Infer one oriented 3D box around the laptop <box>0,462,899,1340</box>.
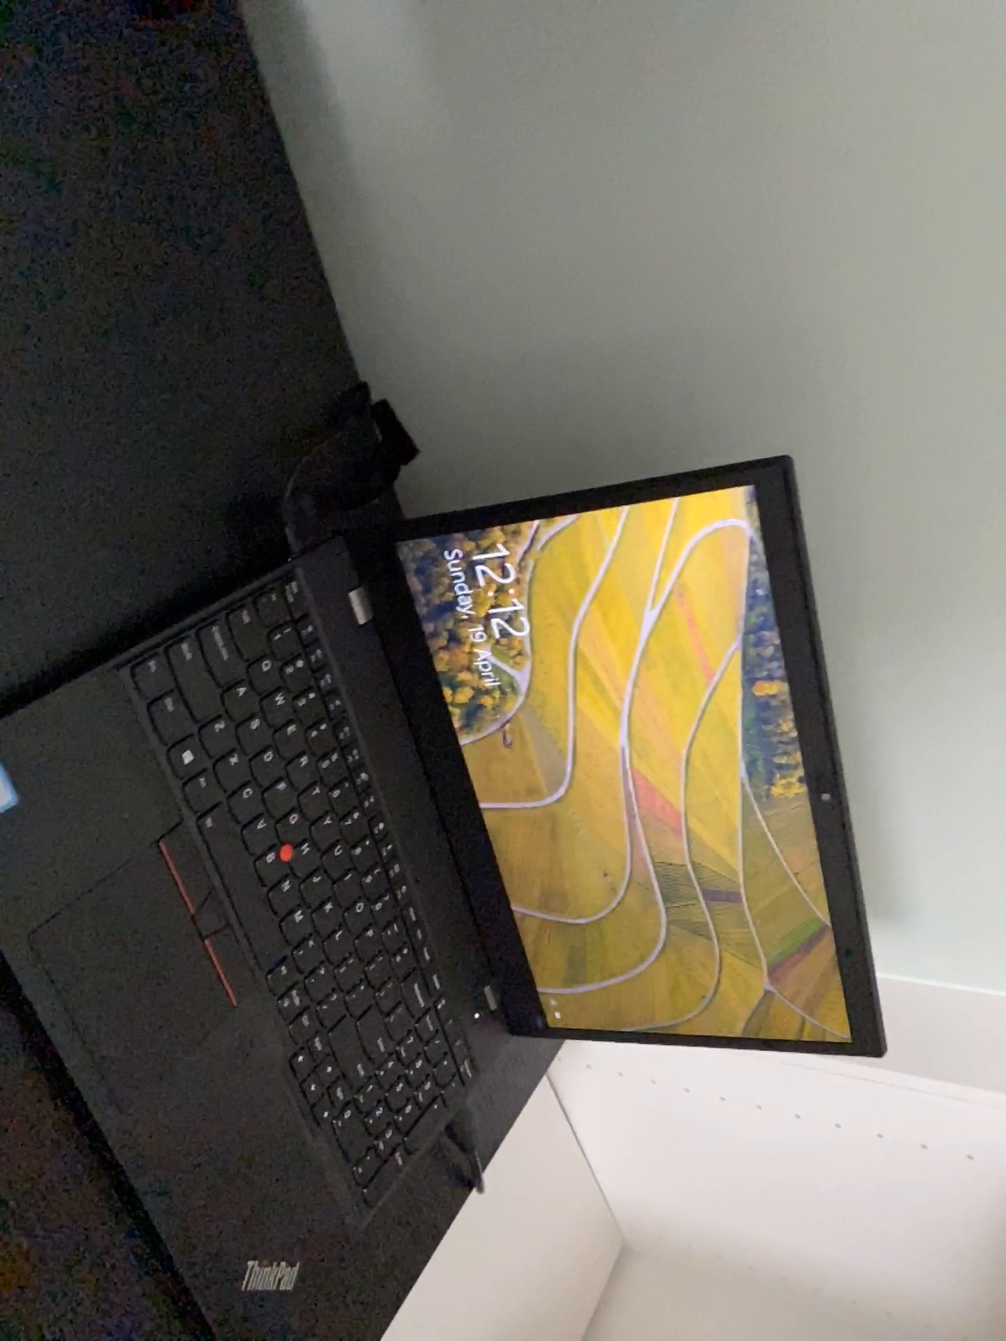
[{"bbox_3d":[0.005,0.129,0.487,0.294,0.231,0.351,-40,122,-46],"label":"laptop"}]
